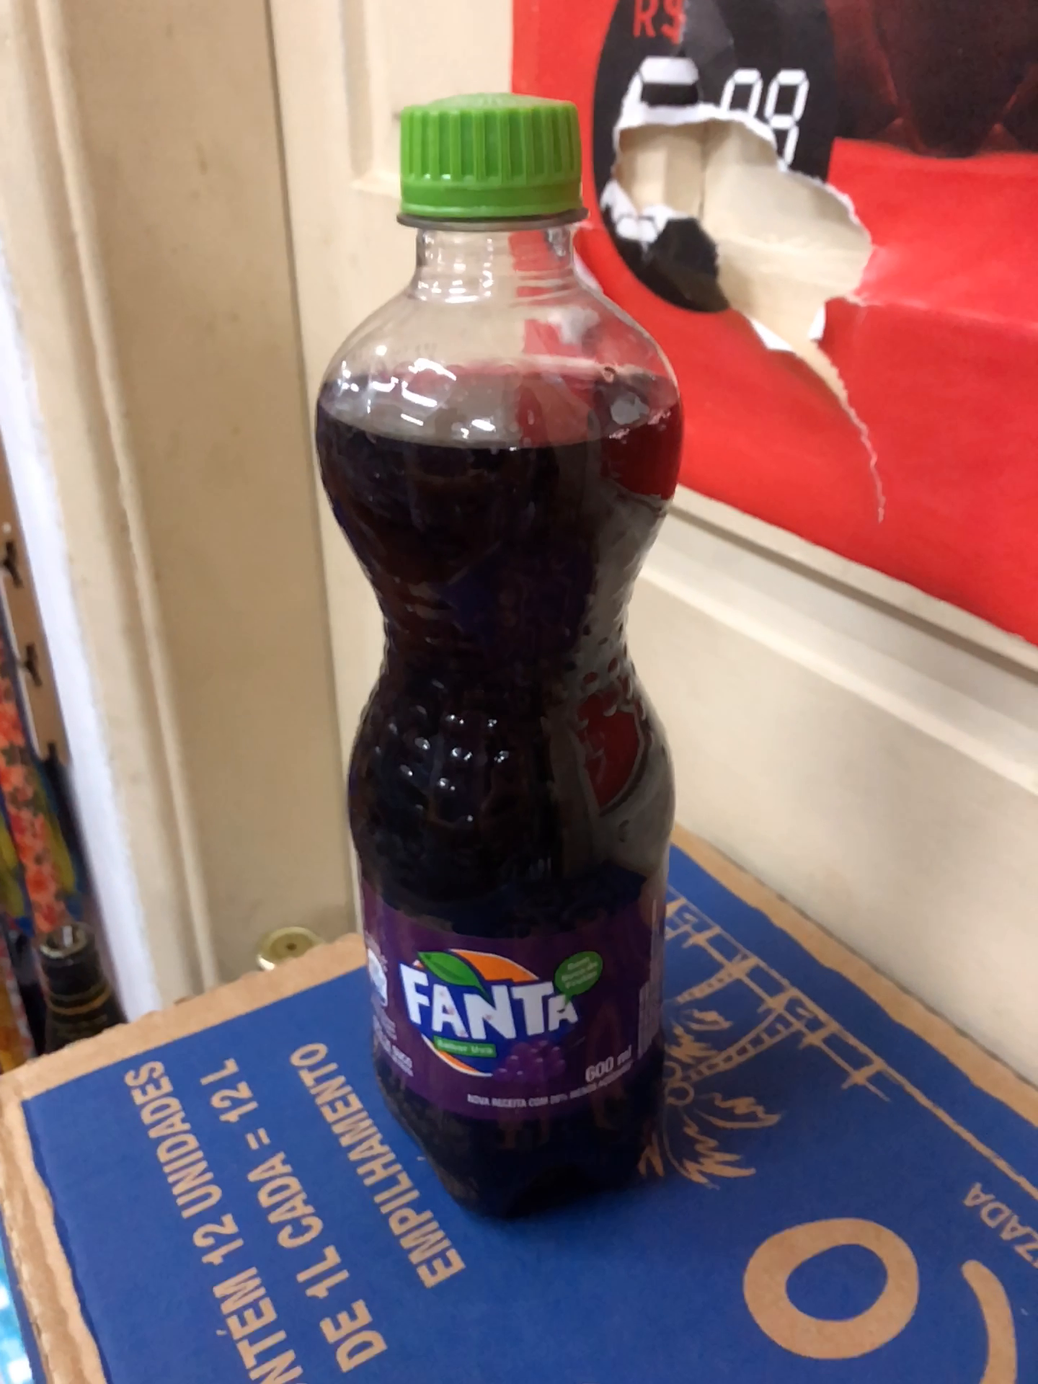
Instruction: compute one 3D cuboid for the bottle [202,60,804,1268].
[{"bbox_3d":[0.003,0.003,0.235,0.080,0.228,0.071,5,28,9],"label":"bottle"}]
